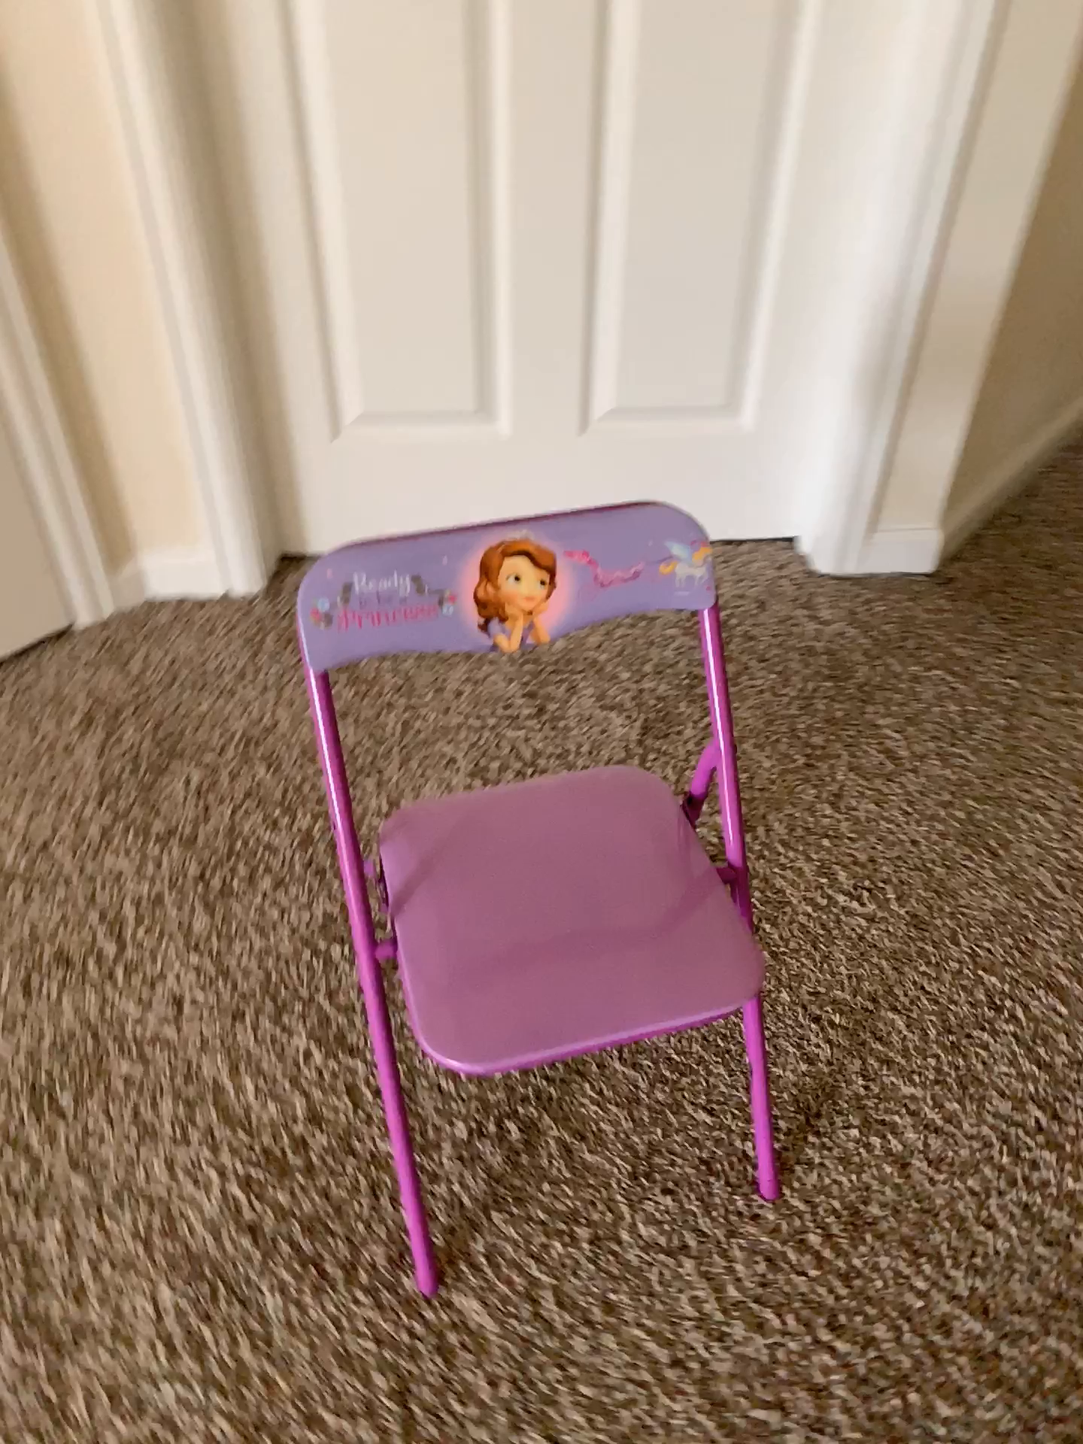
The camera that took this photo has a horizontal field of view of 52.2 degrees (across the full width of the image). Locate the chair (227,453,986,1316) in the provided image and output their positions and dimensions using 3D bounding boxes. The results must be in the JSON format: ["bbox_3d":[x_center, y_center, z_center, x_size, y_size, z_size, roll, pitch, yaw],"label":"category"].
[{"bbox_3d":[0.006,0.120,0.865,0.380,0.468,0.392,-11,44,-12],"label":"chair"}]
